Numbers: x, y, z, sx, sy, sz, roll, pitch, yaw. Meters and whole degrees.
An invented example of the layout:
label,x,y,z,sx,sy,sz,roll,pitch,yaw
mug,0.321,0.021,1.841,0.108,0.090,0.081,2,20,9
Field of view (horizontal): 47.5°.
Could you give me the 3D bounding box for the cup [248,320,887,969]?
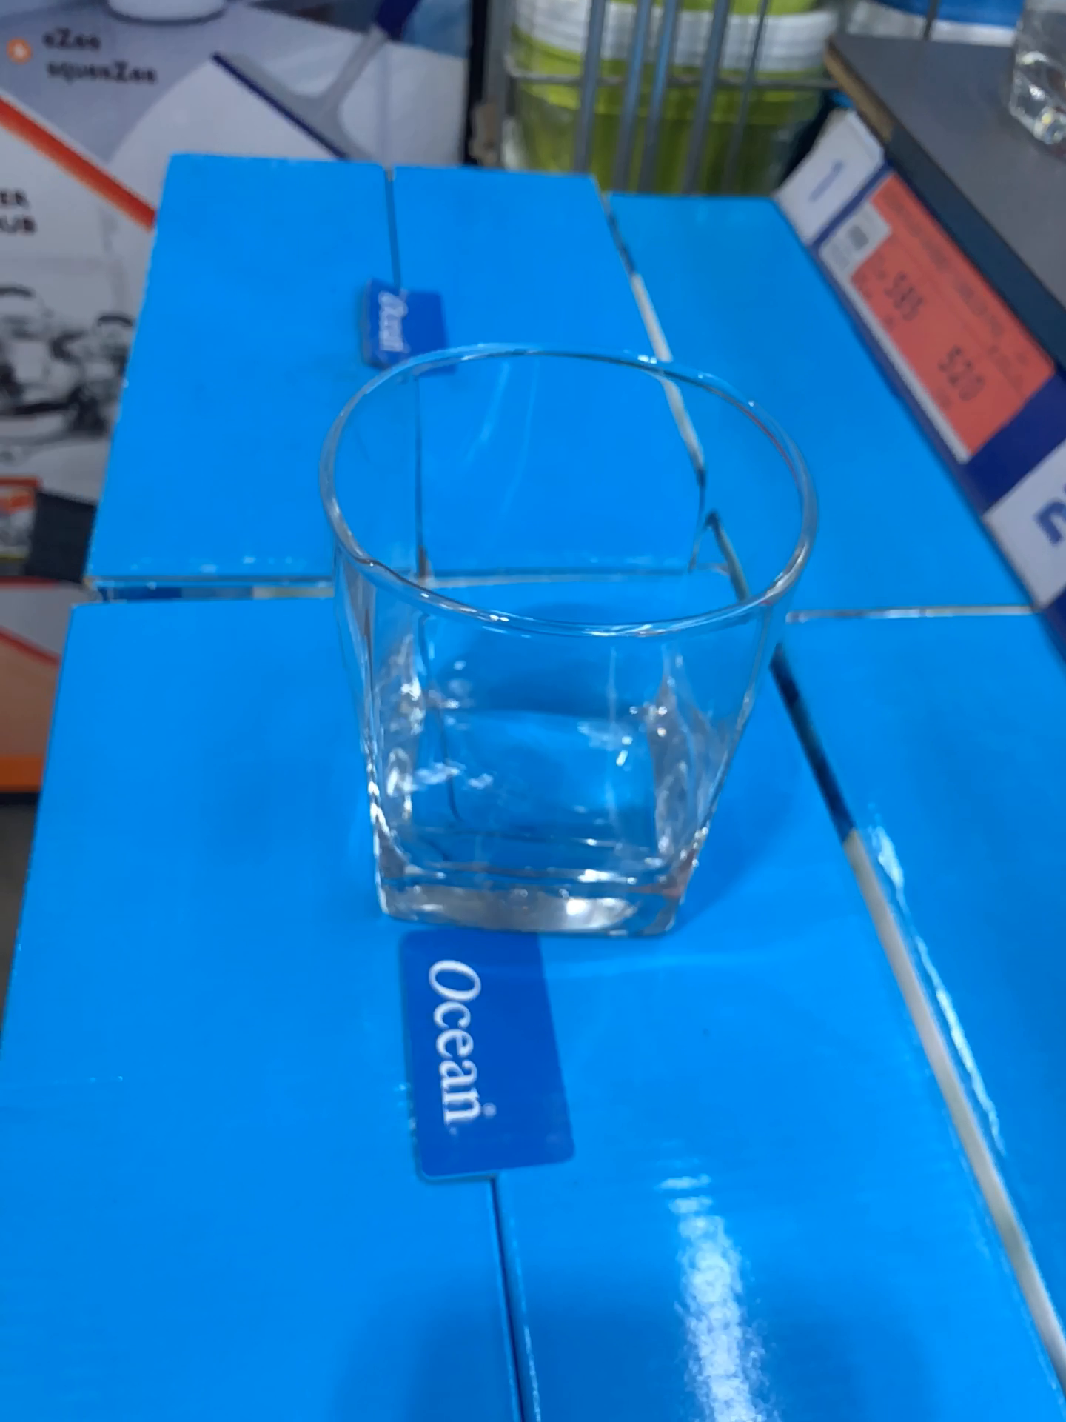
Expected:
label,x,y,z,sx,sy,sz,roll,pitch,yaw
cup,0.001,-0.013,0.229,0.090,0.080,0.090,3,44,-3
